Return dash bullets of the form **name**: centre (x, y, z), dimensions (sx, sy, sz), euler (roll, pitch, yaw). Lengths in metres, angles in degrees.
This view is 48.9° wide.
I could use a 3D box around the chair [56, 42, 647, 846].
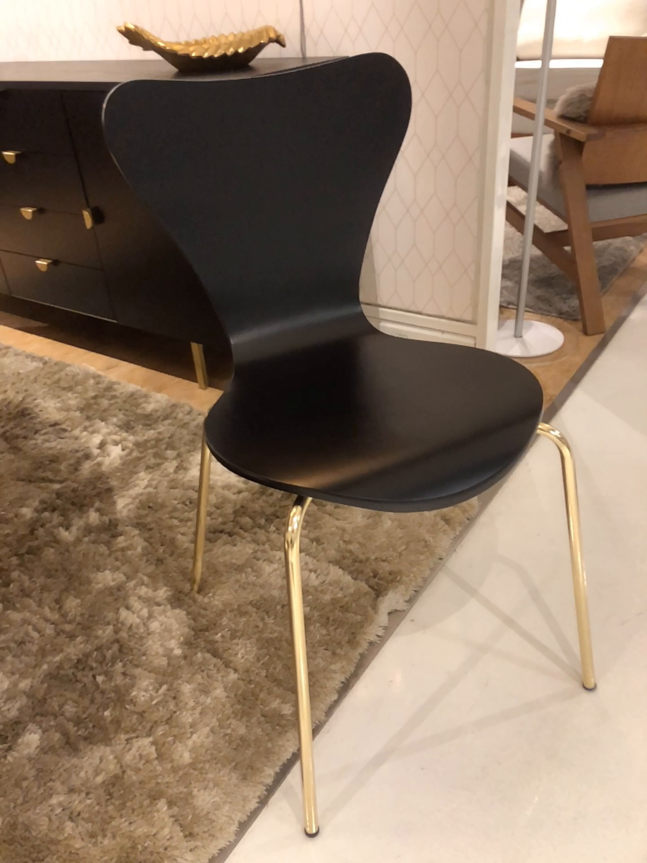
- **chair**: centre (0.053, -0.035, 0.896), dimensions (0.501, 0.754, 0.503), euler (-17, 33, -20)
